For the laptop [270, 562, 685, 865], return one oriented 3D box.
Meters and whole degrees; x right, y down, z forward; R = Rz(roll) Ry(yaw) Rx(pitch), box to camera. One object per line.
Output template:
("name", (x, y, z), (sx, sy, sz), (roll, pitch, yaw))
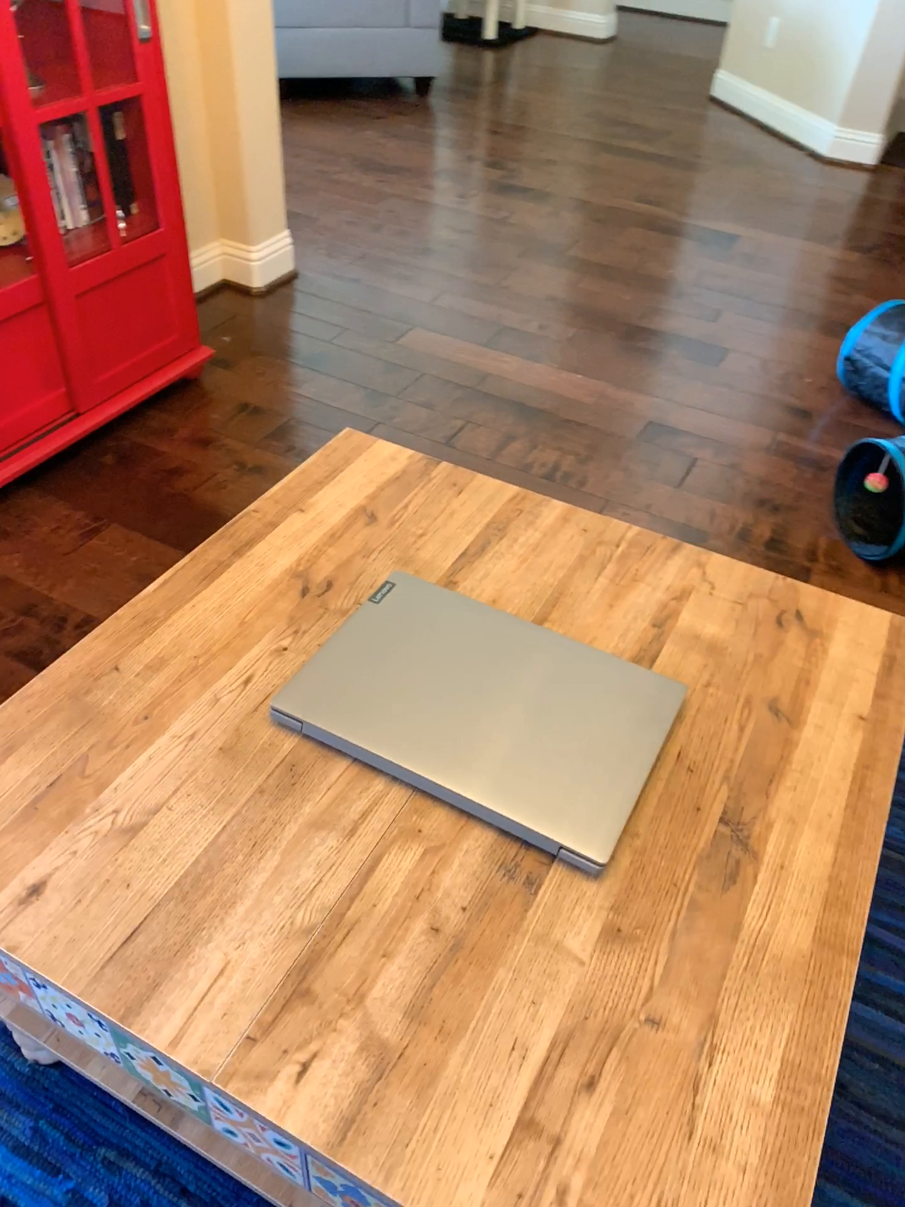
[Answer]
("laptop", (0.030, 0.090, 0.933), (0.347, 0.011, 0.238), (22, 47, 18))
